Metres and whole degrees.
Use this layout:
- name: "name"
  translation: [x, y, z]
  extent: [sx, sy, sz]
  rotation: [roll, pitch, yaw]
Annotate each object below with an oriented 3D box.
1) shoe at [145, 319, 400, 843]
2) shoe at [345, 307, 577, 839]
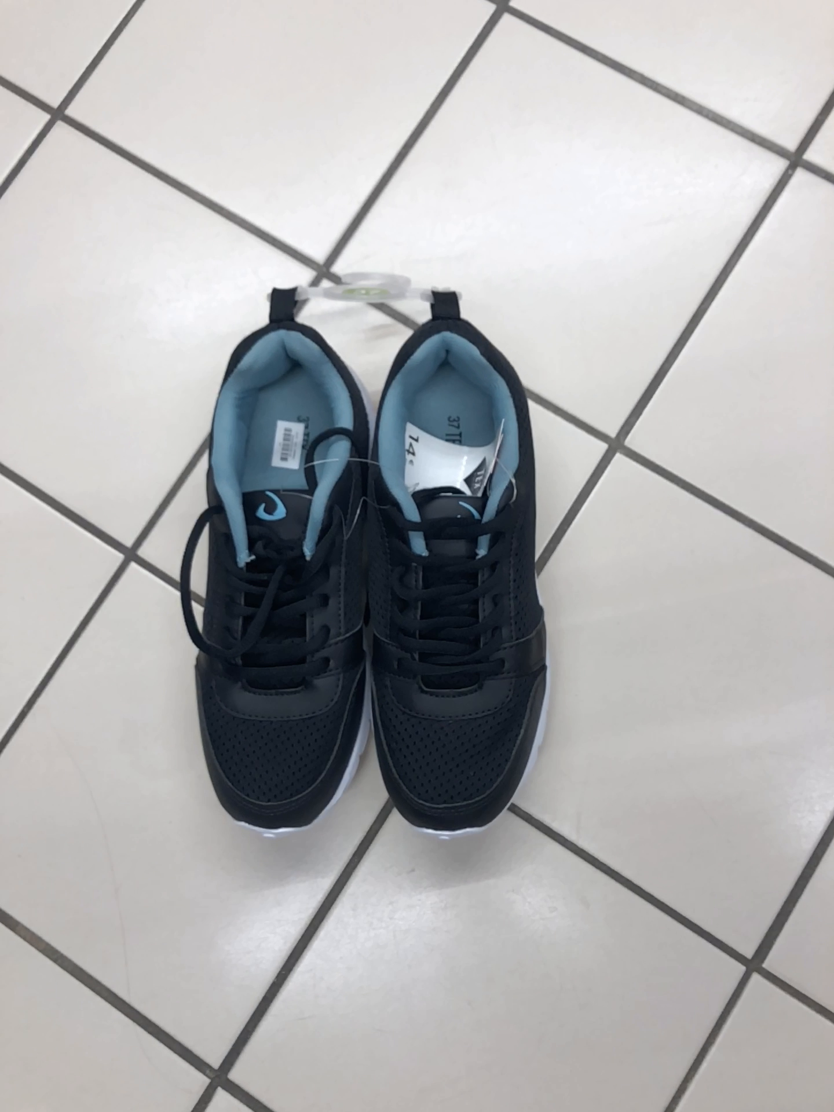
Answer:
- name: "shoe"
  translation: [-0.067, 0.015, 0.474]
  extent: [0.100, 0.100, 0.240]
  rotation: [-2, 81, 8]
- name: "shoe"
  translation: [0.021, 0.012, 0.470]
  extent: [0.100, 0.110, 0.240]
  rotation: [-1, 81, 4]
